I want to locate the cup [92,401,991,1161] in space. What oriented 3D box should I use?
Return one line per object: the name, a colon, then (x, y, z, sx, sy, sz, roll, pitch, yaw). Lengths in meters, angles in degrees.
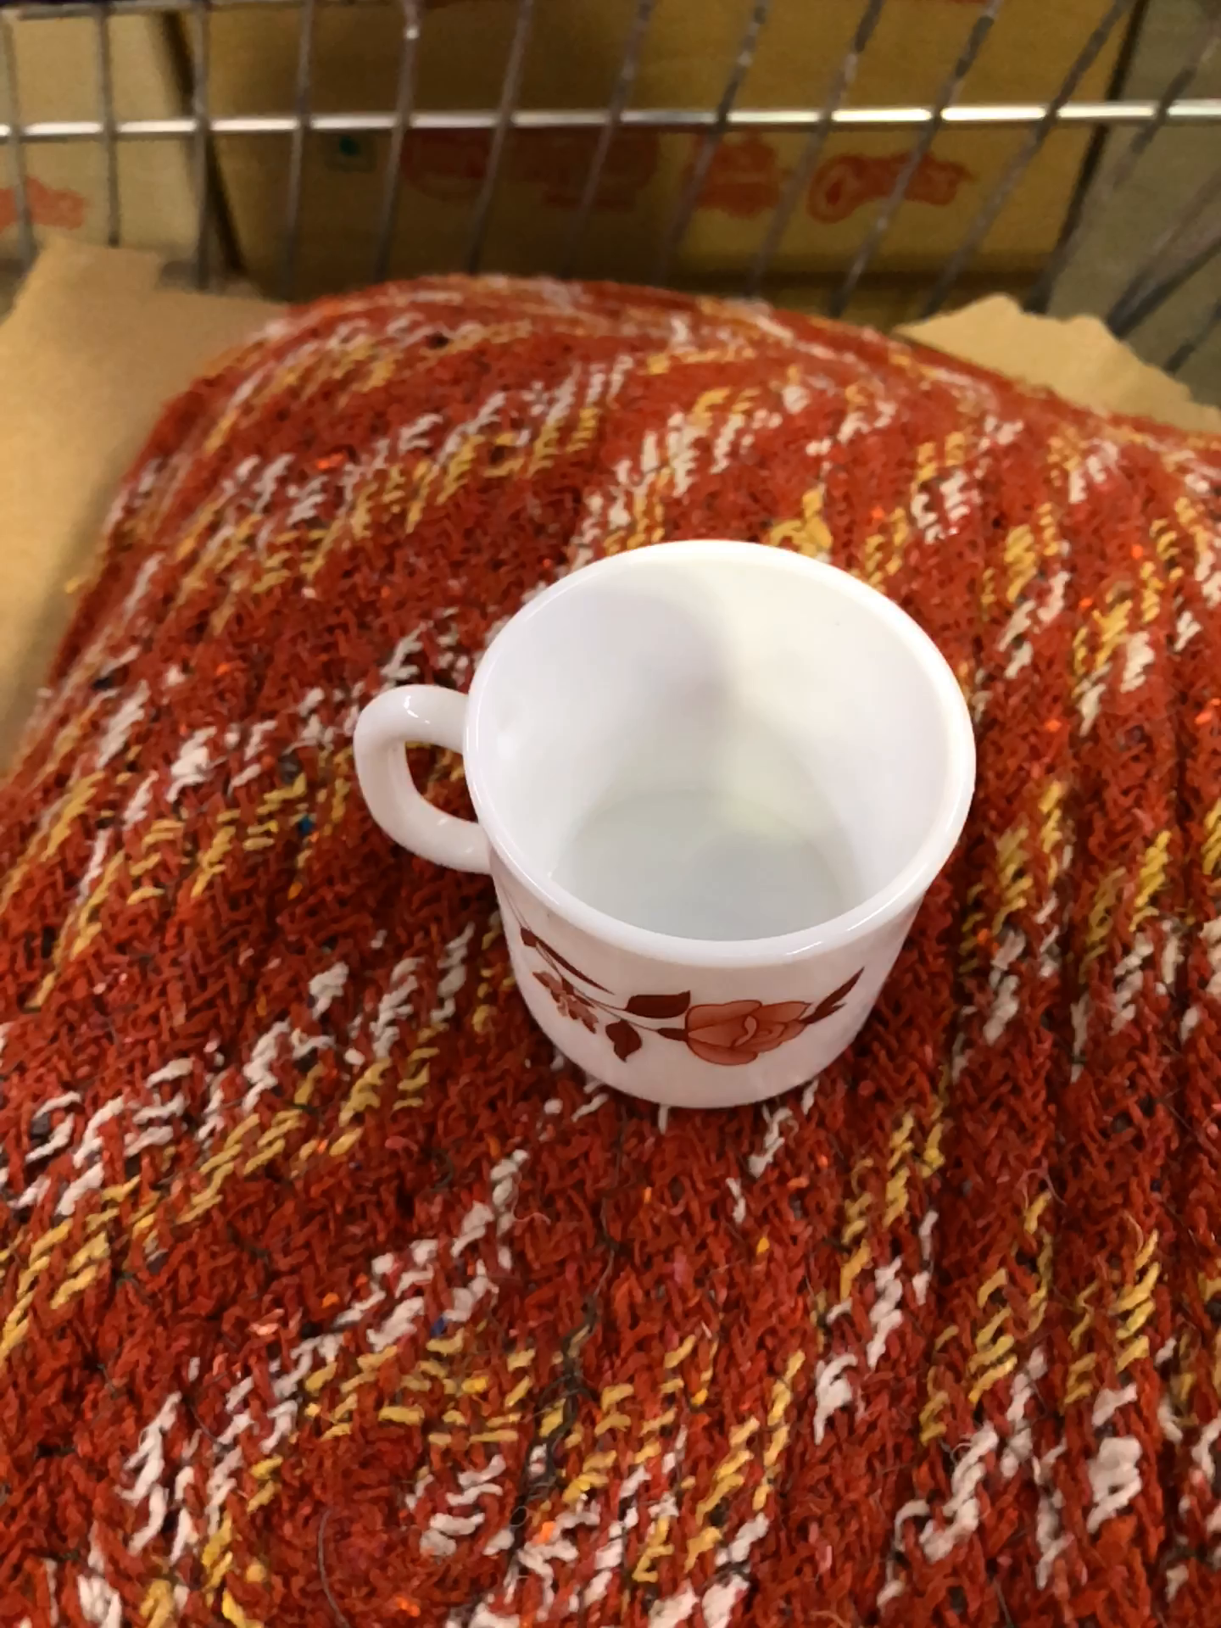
cup: (-0.005, -0.004, 0.184, 0.090, 0.060, 0.060, 13, 57, 9)
